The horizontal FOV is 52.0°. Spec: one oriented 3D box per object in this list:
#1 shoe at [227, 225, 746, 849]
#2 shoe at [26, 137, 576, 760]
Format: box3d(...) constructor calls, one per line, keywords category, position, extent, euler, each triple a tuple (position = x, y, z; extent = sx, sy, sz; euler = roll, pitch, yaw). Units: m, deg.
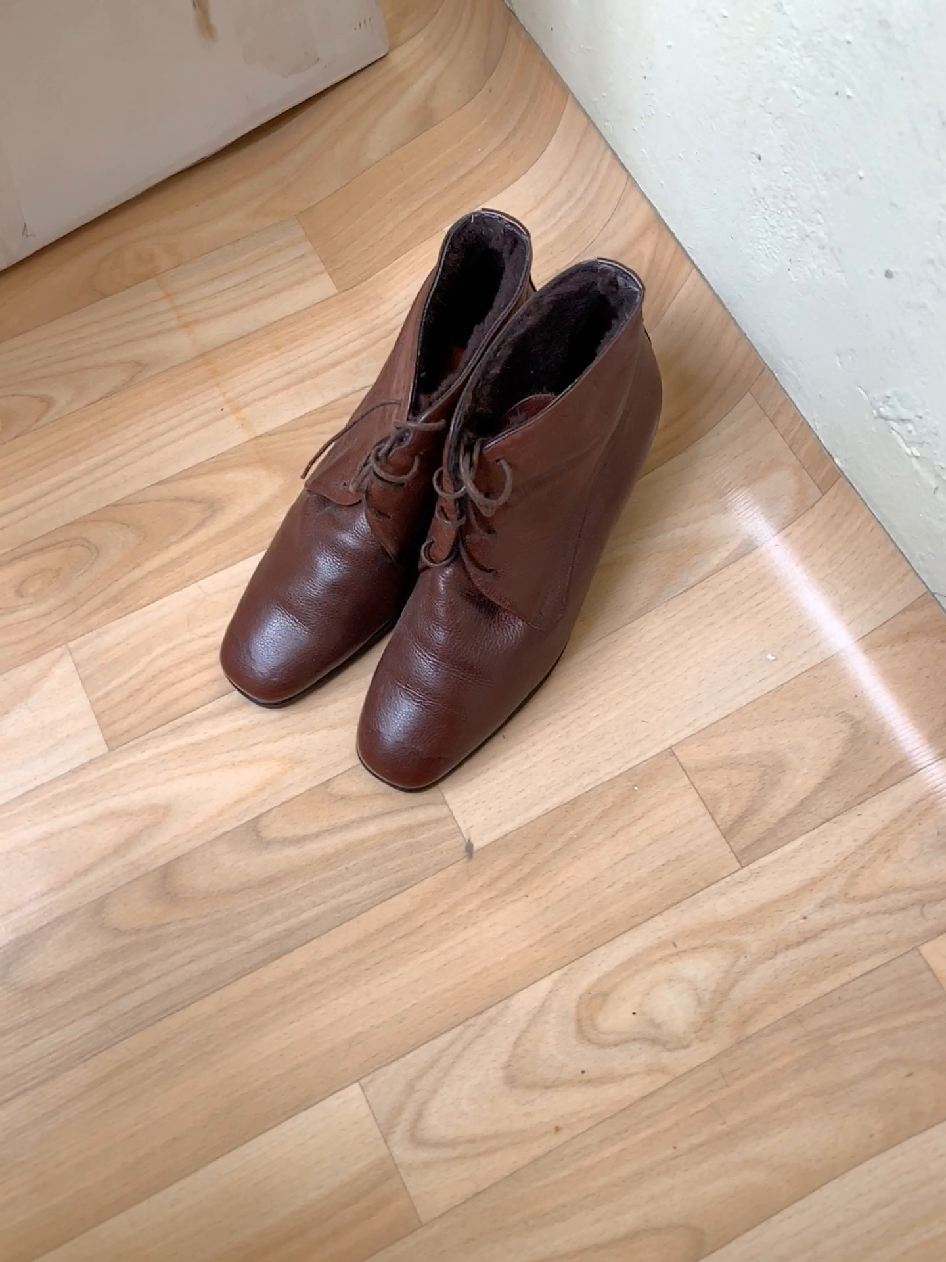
box3d(category="shoe", position=(0.014, -0.028, 0.420), extent=(0.080, 0.150, 0.220), euler=(31, 77, 13))
box3d(category="shoe", position=(-0.054, -0.068, 0.427), extent=(0.080, 0.150, 0.220), euler=(36, 78, 14))
